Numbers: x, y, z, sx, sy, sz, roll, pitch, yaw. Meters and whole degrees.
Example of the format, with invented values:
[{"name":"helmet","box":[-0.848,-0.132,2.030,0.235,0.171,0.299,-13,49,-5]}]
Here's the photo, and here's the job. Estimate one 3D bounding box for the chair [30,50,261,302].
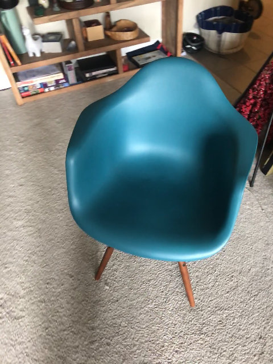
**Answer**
[{"name":"chair","box":[0.071,0.013,1.179,0.570,0.844,0.484,8,46,10]}]
